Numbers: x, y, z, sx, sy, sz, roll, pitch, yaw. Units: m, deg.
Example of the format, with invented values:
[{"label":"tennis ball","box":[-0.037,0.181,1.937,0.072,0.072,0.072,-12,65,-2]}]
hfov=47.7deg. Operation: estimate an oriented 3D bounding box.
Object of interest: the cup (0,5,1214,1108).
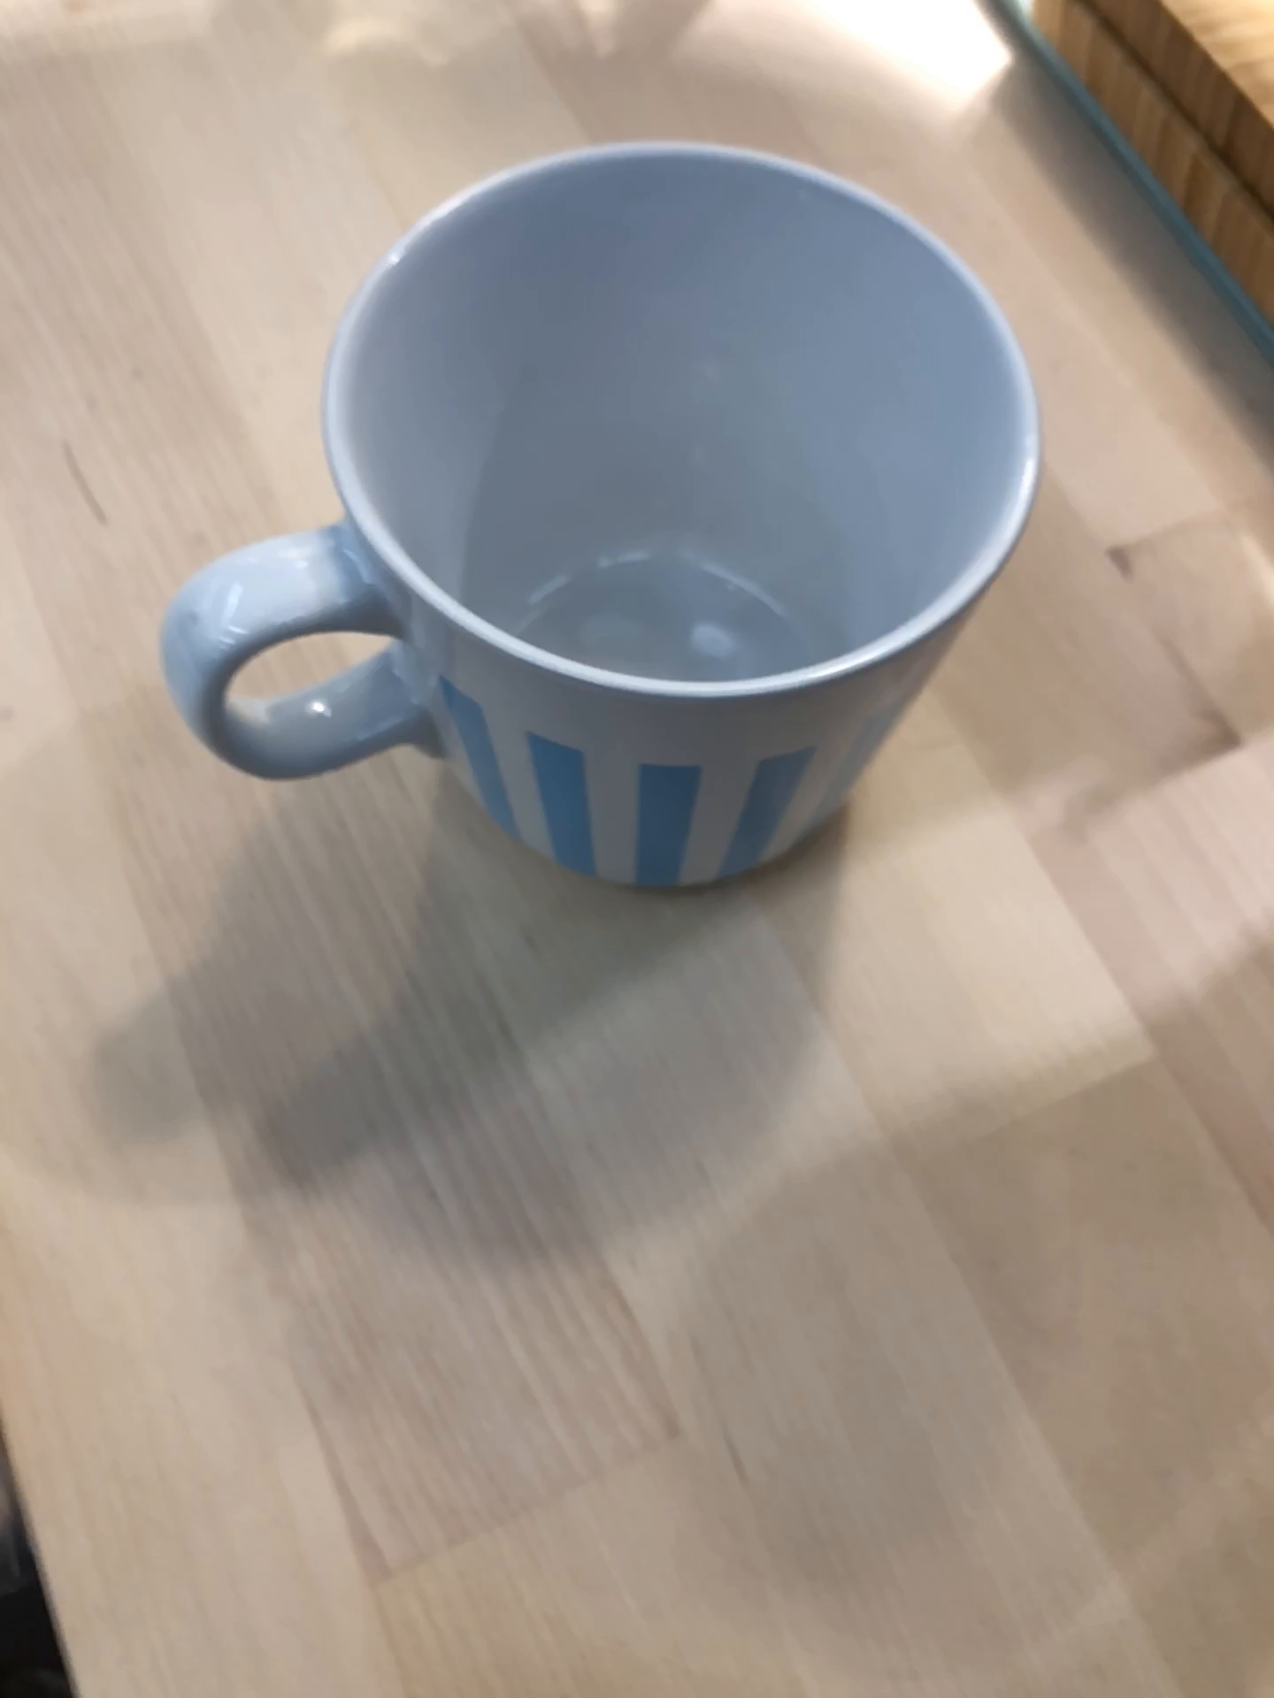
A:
[{"label":"cup","box":[-0.011,-0.036,0.192,0.120,0.080,0.080,-22,67,-12]}]
